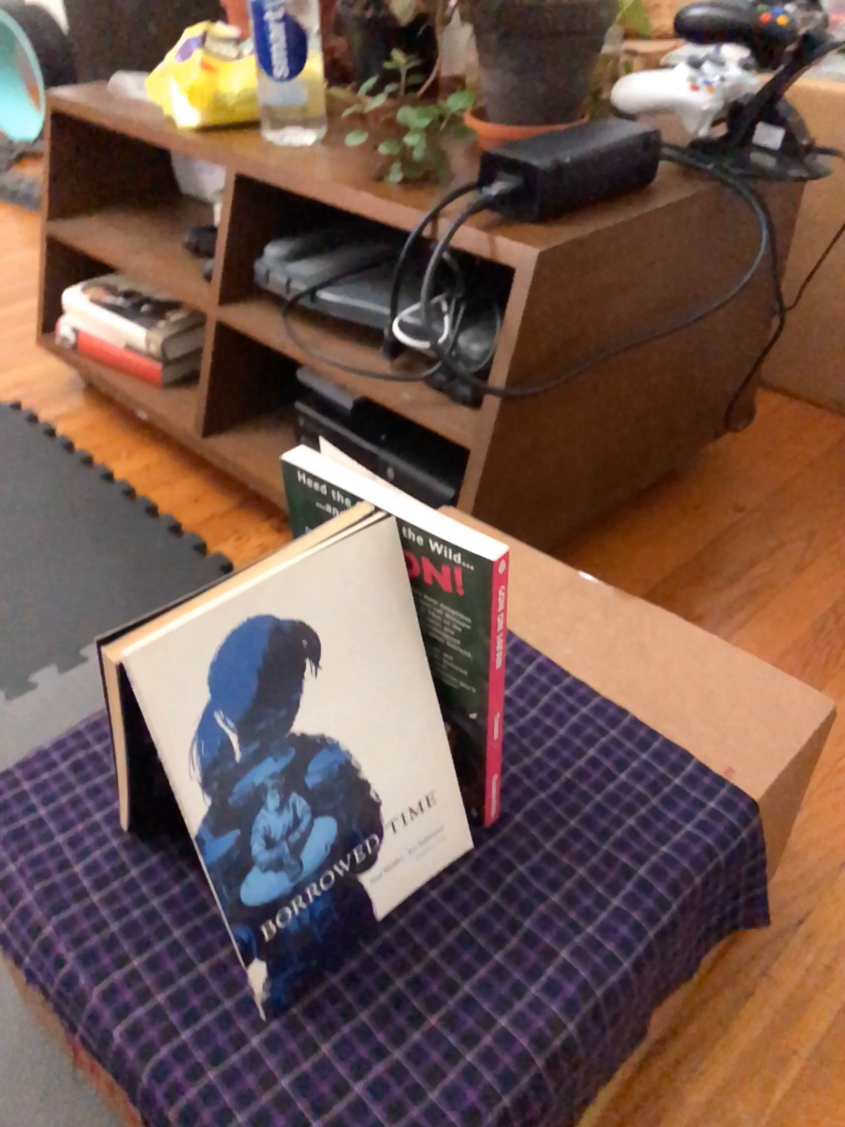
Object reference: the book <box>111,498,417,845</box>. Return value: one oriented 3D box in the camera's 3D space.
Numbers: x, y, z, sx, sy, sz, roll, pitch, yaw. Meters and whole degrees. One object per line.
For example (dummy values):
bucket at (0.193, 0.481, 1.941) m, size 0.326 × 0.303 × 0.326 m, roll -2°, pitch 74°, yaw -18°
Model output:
book at (-0.084, 0.062, 0.477) m, size 0.150 × 0.199 × 0.010 m, roll -30°, pitch 67°, yaw -32°

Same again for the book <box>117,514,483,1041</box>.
book at (-0.042, 0.096, 0.428) m, size 0.140 × 0.199 × 0.010 m, roll -30°, pitch 28°, yaw -35°

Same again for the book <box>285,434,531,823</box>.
book at (-0.004, 0.039, 0.497) m, size 0.140 × 0.189 × 0.020 m, roll 30°, pitch 53°, yaw 33°
